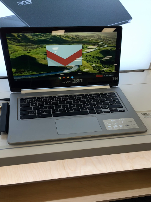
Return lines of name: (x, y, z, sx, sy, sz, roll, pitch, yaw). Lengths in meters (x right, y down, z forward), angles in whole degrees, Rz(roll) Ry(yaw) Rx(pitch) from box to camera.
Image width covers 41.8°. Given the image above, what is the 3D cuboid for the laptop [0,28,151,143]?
laptop: (-0.010, -0.059, 0.543, 0.356, 0.190, 0.275, -5, 42, -8)
